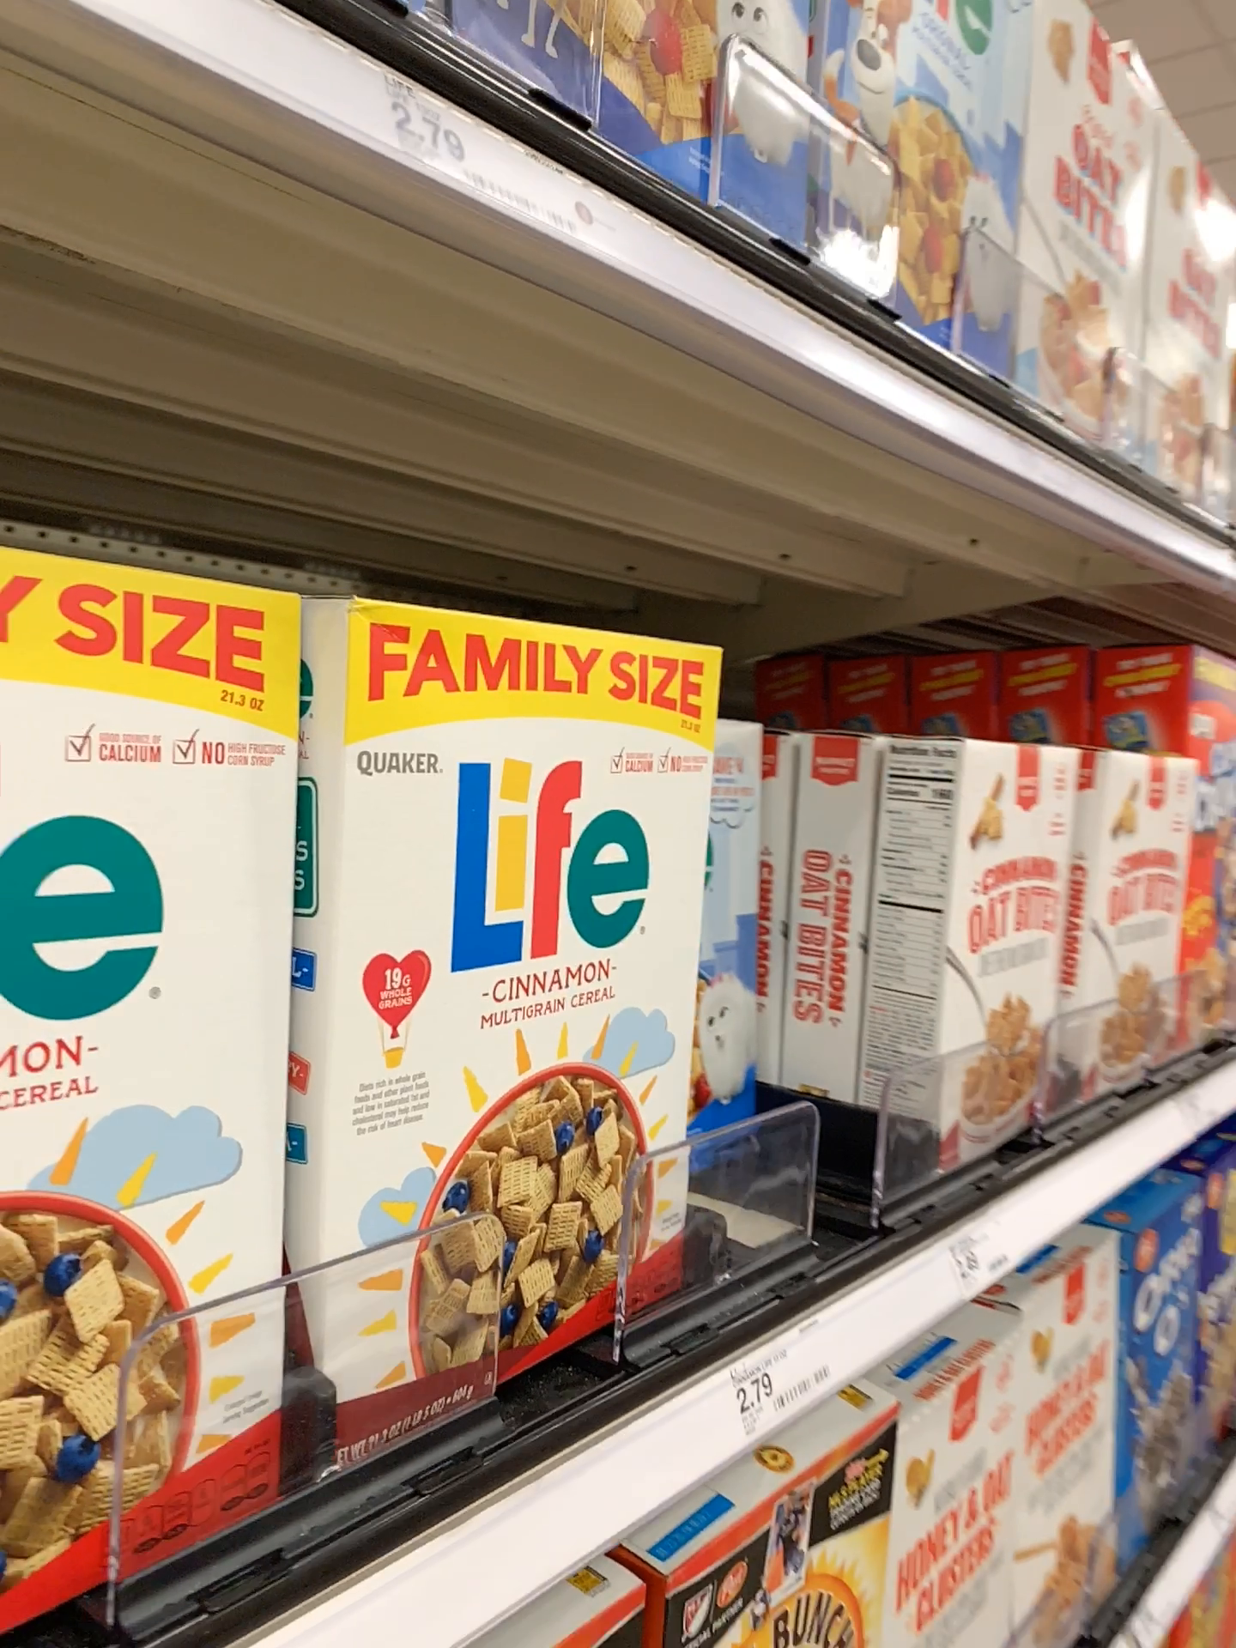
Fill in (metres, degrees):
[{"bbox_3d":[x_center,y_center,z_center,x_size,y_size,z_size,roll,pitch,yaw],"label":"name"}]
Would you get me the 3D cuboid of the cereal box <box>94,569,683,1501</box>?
[{"bbox_3d":[-0.071,0.055,0.444,0.070,0.260,0.190,6,5,41],"label":"cereal box"}]
